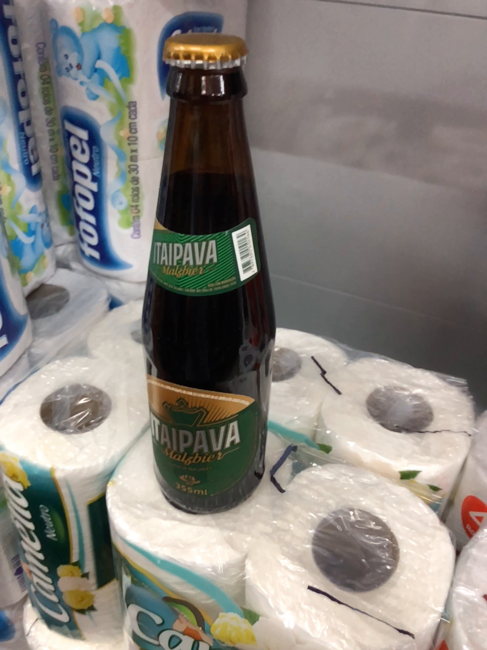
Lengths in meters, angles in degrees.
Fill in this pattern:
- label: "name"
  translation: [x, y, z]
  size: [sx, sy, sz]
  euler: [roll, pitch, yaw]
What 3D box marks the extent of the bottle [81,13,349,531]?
- label: "bottle"
  translation: [-0.010, -0.007, 0.242]
  size: [0.070, 0.218, 0.060]
  euler: [13, 38, 13]
